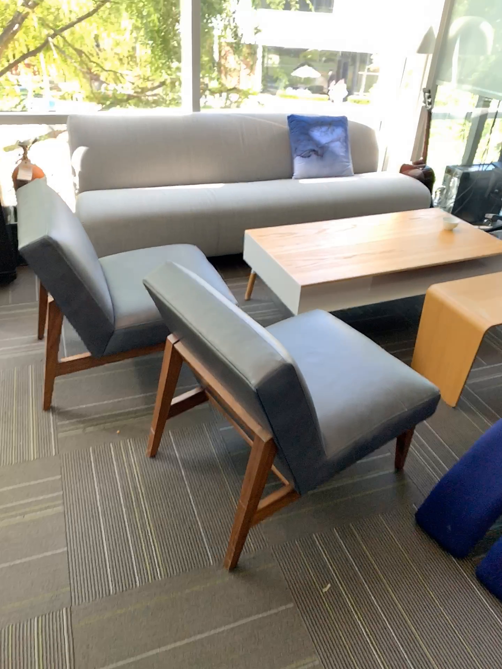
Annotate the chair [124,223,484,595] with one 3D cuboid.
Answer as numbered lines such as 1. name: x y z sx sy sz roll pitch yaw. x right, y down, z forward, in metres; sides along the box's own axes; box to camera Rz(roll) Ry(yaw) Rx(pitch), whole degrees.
1. chair: 0.133 0.170 1.766 0.851 0.765 0.683 -19 39 -30

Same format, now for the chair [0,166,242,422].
1. chair: -0.597 -0.241 2.316 0.850 0.765 0.744 -12 36 -22
